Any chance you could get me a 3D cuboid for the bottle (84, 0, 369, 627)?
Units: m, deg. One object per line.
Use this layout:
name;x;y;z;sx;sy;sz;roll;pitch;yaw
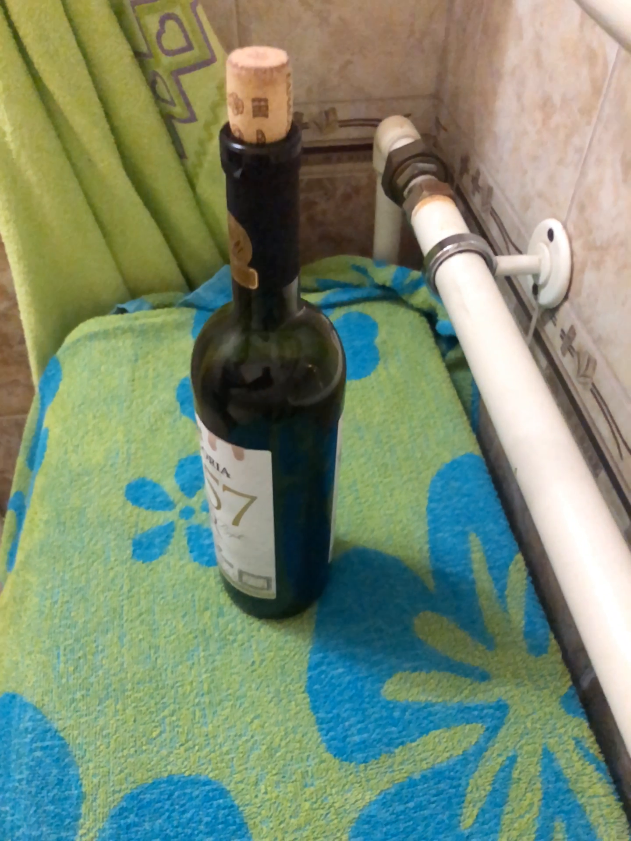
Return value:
bottle;-0.027;-0.013;0.341;0.080;0.319;0.080;0;47;0
